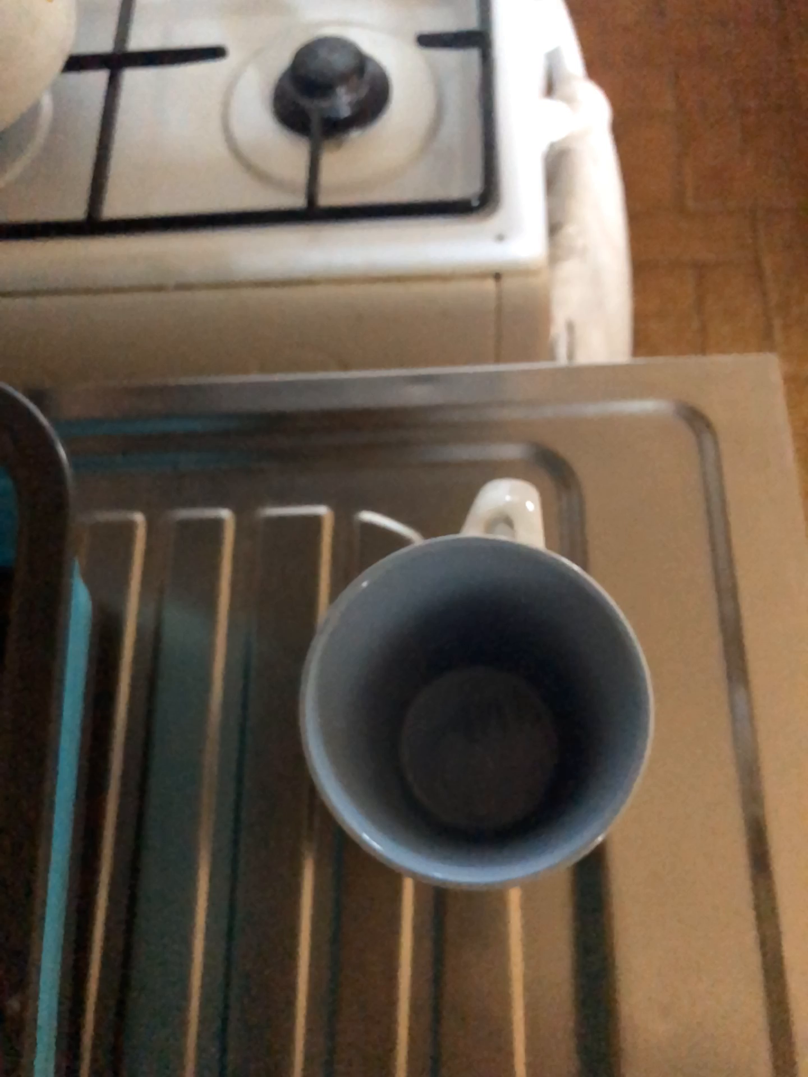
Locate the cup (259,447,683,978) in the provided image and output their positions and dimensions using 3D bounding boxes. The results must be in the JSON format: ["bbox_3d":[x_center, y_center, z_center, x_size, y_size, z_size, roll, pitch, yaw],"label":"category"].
[{"bbox_3d":[0.026,0.055,0.288,0.100,0.100,0.130,5,69,7],"label":"cup"}]
